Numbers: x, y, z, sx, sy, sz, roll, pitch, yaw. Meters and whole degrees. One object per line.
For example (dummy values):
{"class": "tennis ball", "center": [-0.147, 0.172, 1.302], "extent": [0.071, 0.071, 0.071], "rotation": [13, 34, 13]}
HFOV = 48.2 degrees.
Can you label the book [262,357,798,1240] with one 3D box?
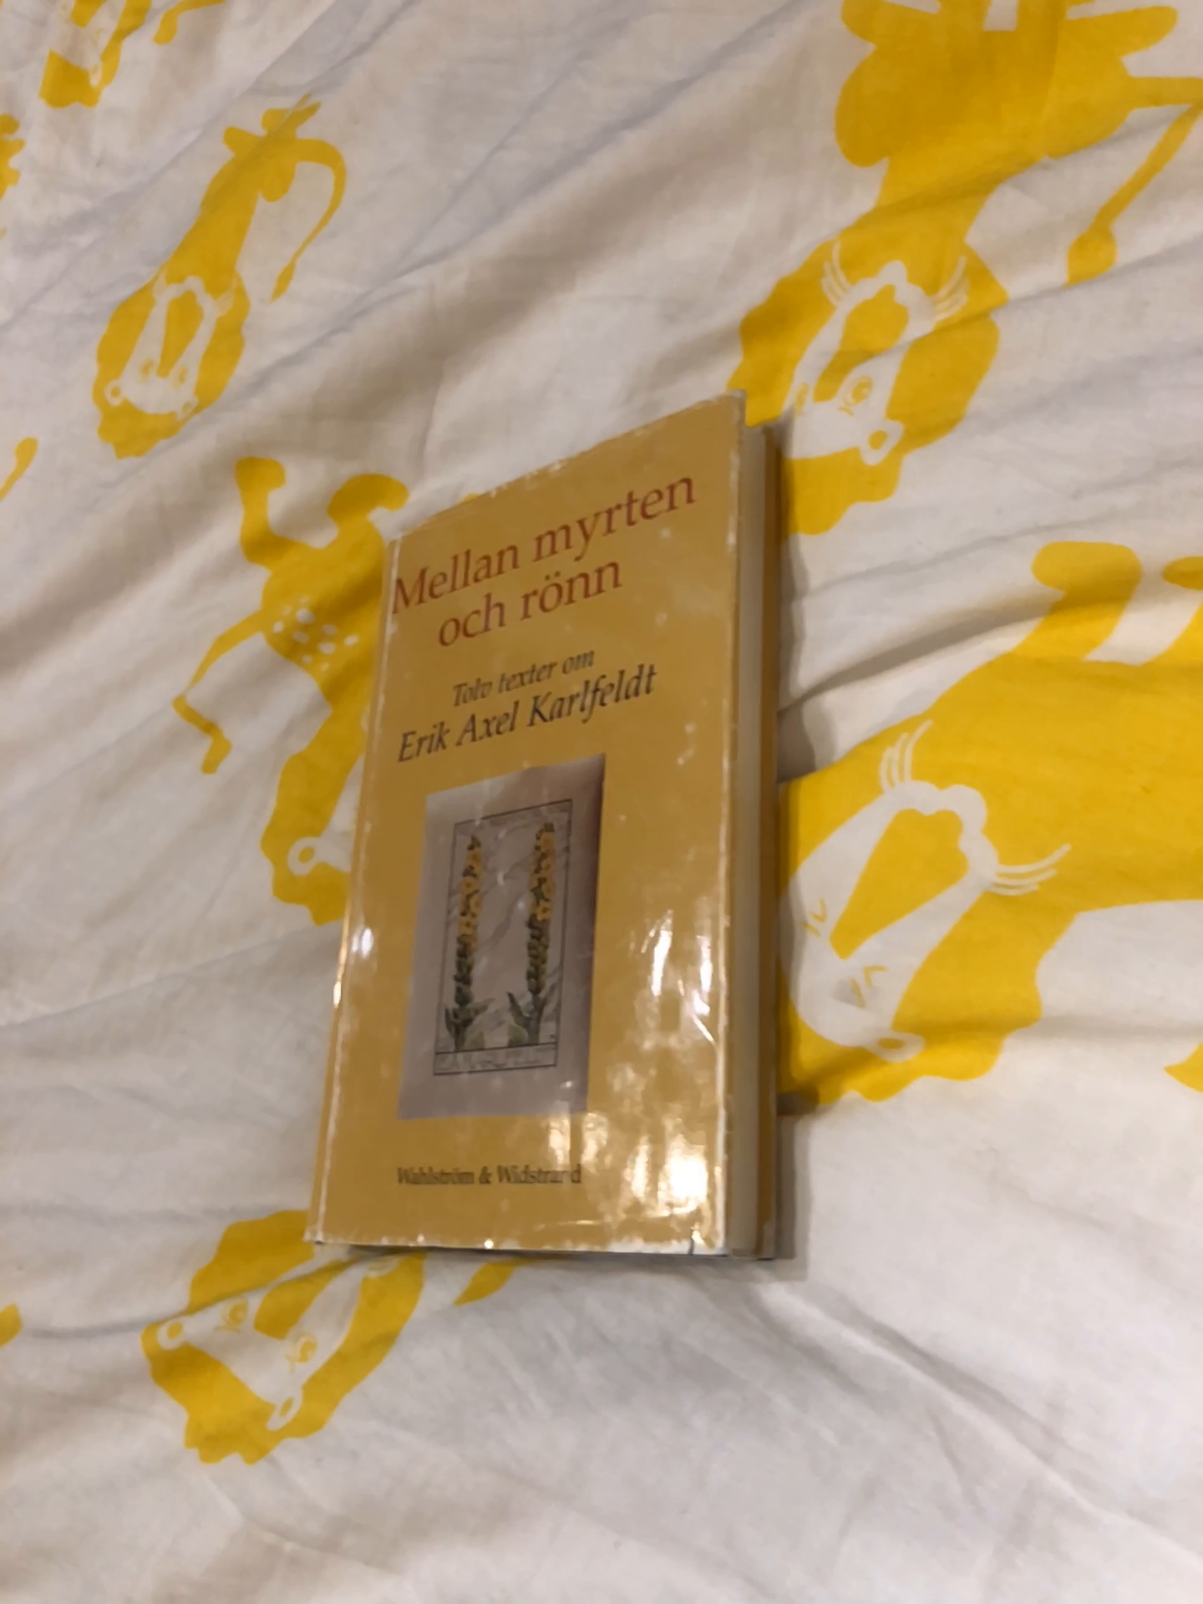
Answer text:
{"class": "book", "center": [-0.019, 0.003, 0.360], "extent": [0.141, 0.030, 0.215], "rotation": [-14, 62, 35]}
